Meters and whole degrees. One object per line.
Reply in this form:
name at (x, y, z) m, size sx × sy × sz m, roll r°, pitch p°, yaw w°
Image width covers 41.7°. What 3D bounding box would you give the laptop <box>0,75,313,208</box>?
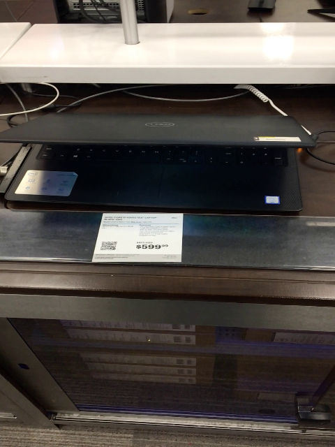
laptop at (-0.016, -0.132, 0.664) m, size 0.428 × 0.081 × 0.206 m, roll 3°, pitch 50°, yaw 9°
